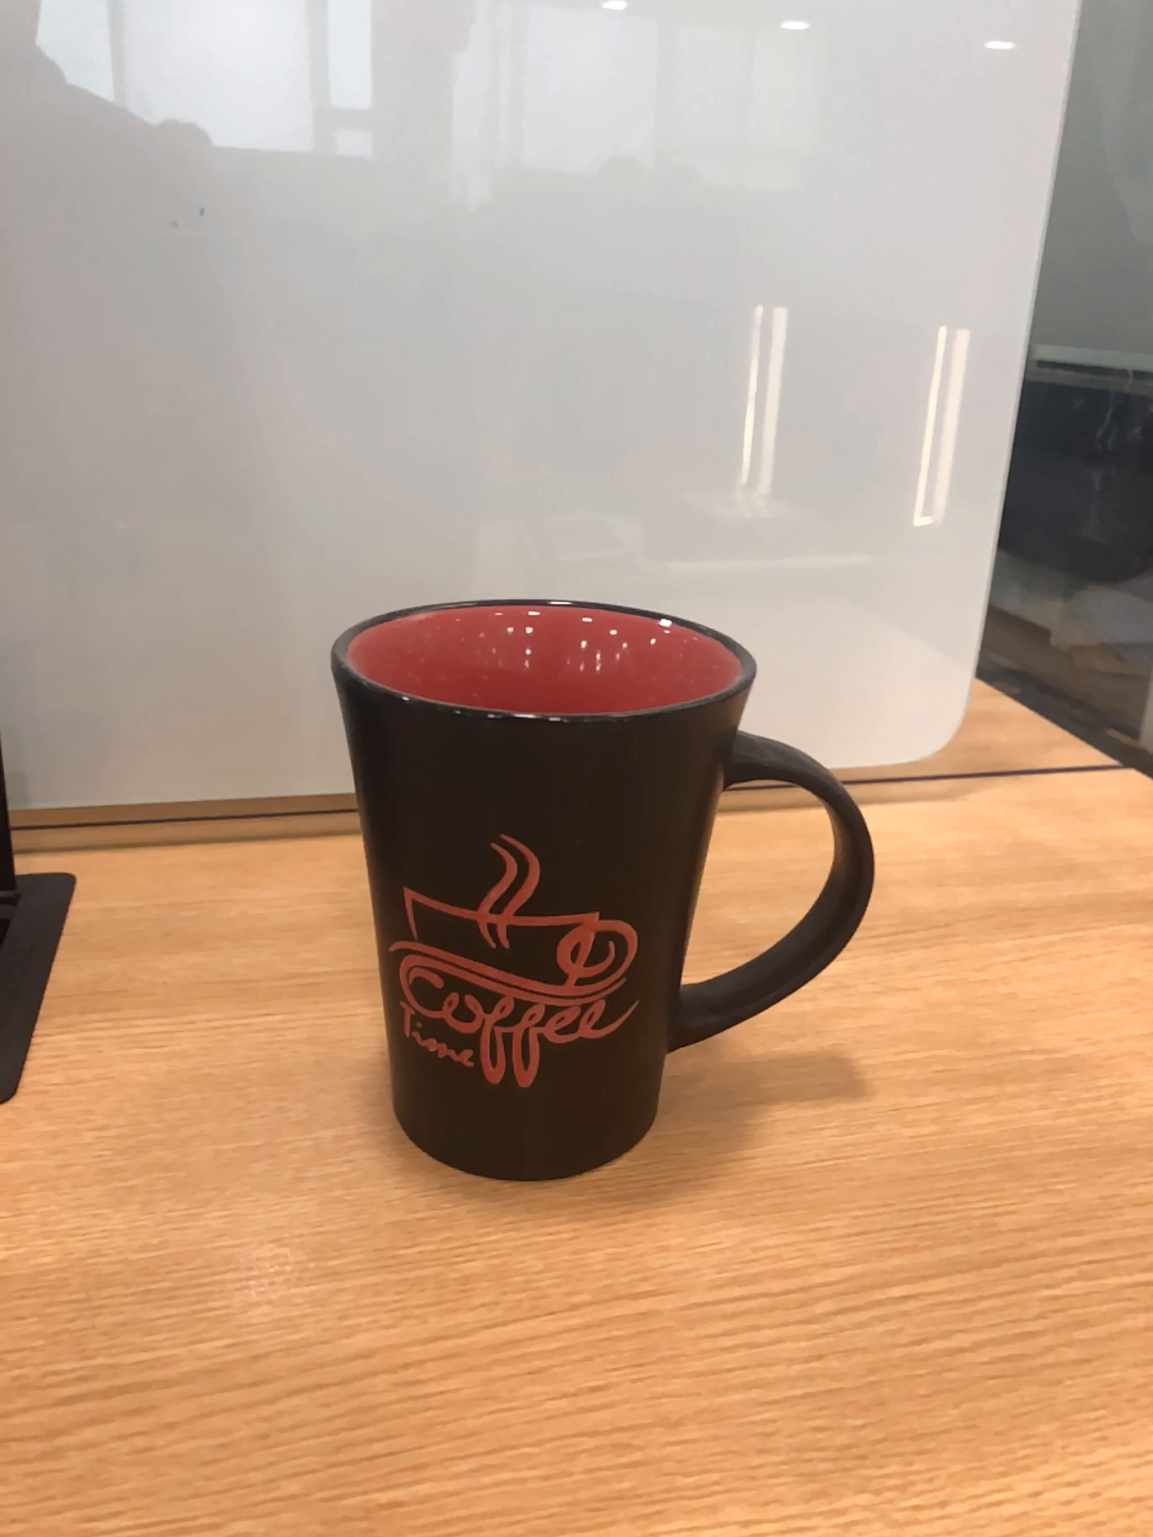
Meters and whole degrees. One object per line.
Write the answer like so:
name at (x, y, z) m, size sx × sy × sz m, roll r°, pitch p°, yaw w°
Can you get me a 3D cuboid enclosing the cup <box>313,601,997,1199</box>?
cup at (0.011, 0.024, 0.283) m, size 0.120 × 0.100 × 0.090 m, roll 1°, pitch 20°, yaw -3°
